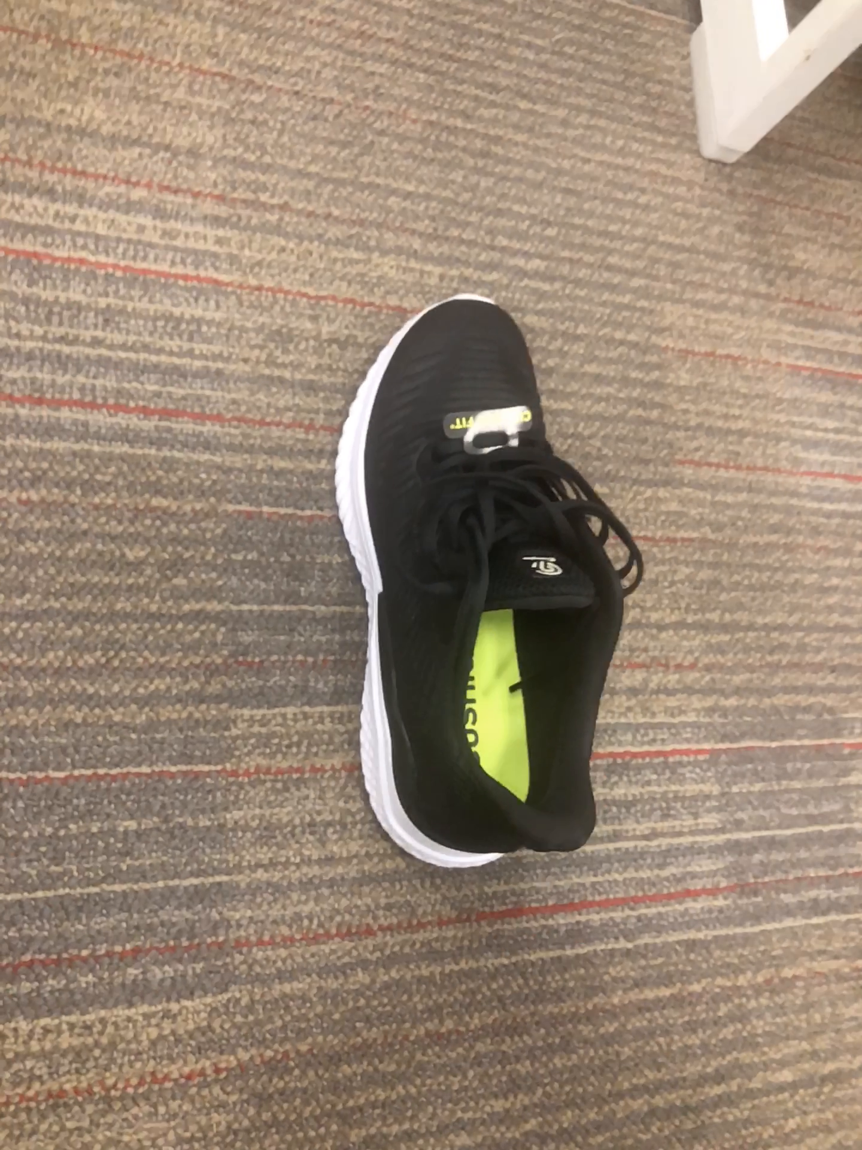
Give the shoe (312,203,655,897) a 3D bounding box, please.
[{"bbox_3d":[0.017,-0.007,0.453,0.120,0.100,0.290,4,75,-21],"label":"shoe"}]
